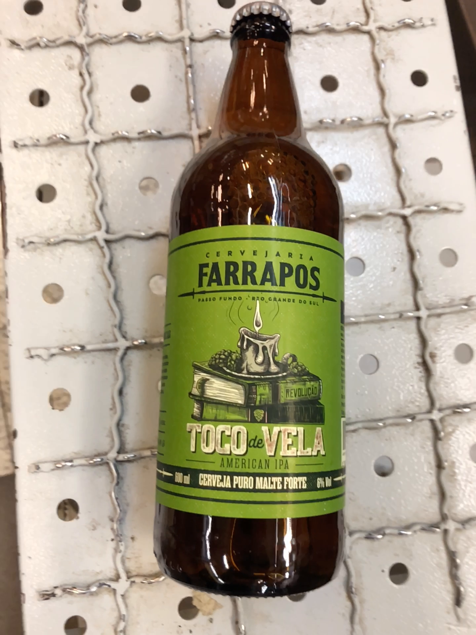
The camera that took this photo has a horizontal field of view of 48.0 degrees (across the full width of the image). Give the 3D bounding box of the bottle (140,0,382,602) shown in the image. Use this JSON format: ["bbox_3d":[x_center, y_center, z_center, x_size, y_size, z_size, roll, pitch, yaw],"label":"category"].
[{"bbox_3d":[0.008,-0.033,0.225,0.080,0.070,0.260,3,82,-9],"label":"bottle"}]
